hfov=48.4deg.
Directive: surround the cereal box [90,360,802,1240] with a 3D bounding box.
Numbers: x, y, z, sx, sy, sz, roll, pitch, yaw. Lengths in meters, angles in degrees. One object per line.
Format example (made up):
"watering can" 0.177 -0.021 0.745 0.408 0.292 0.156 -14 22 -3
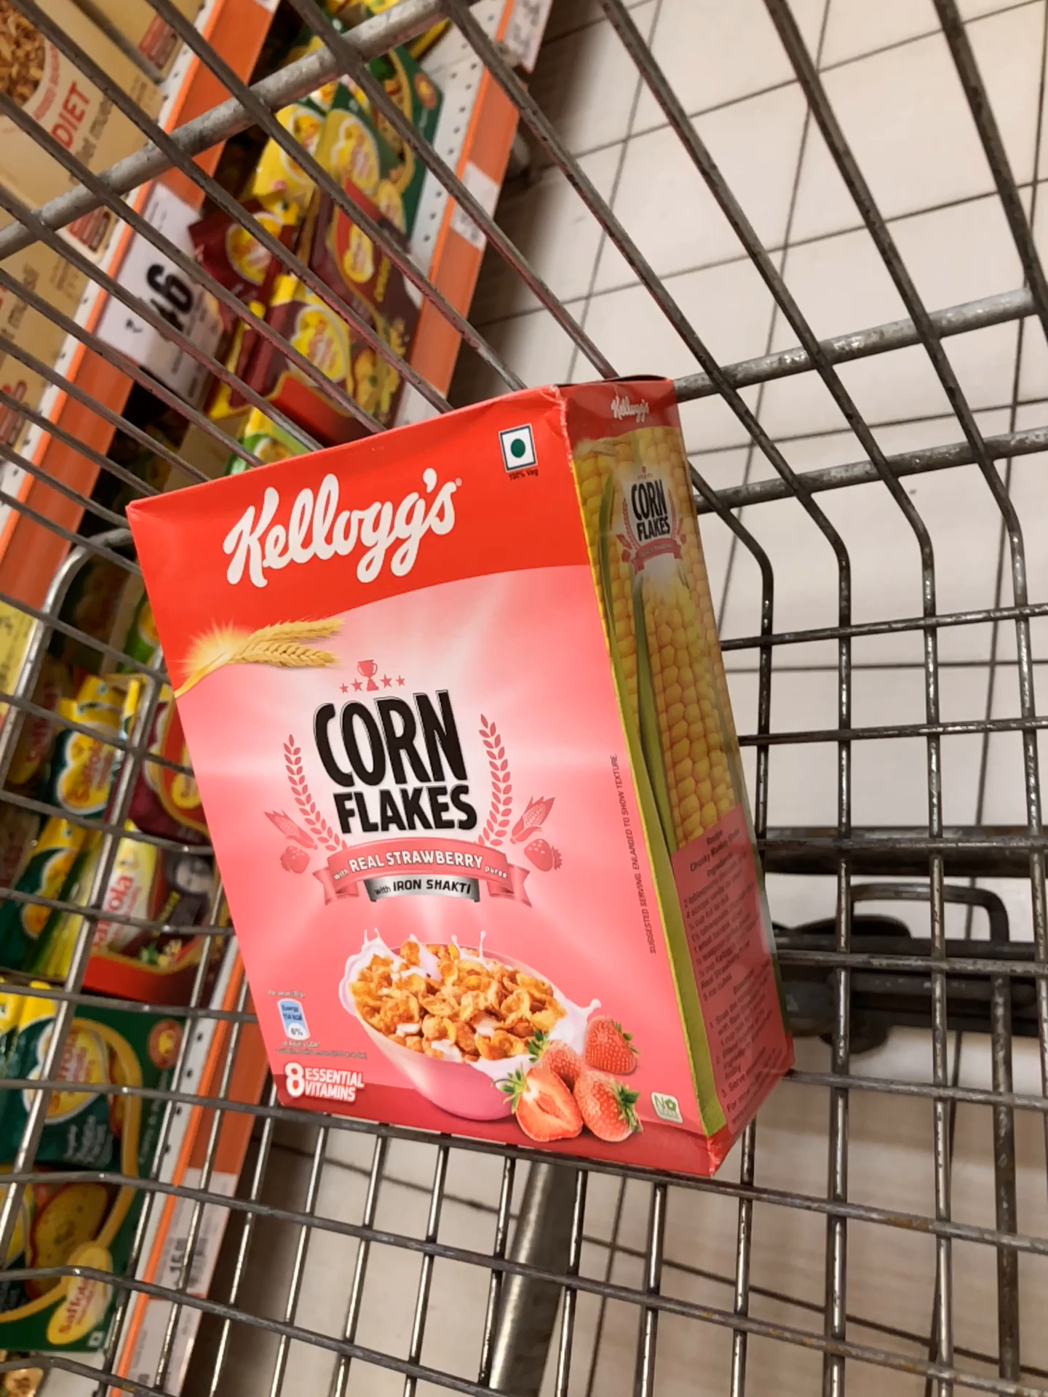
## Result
"cereal box" -0.021 0.024 0.288 0.140 0.050 0.180 -6 100 35
